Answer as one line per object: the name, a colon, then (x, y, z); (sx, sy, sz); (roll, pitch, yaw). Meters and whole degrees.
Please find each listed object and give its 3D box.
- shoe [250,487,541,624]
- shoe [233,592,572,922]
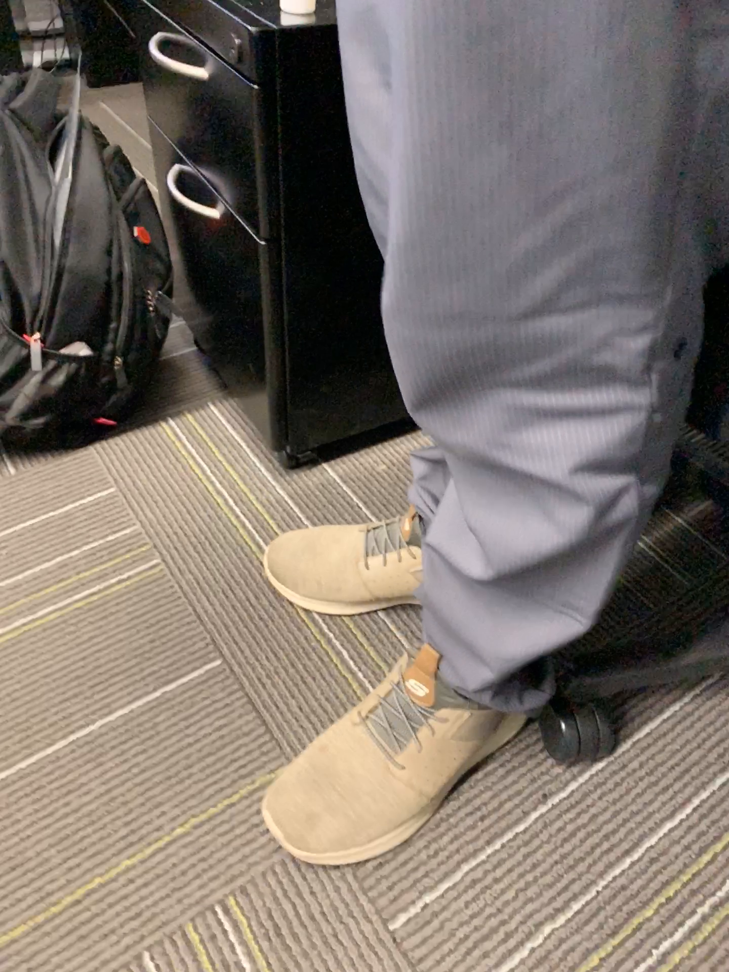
shoe: (0.031, 0.079, 0.846); (0.301, 0.098, 0.107); (2, 45, -2)
shoe: (0.041, 0.245, 0.719); (0.302, 0.098, 0.126); (-28, 53, -28)
